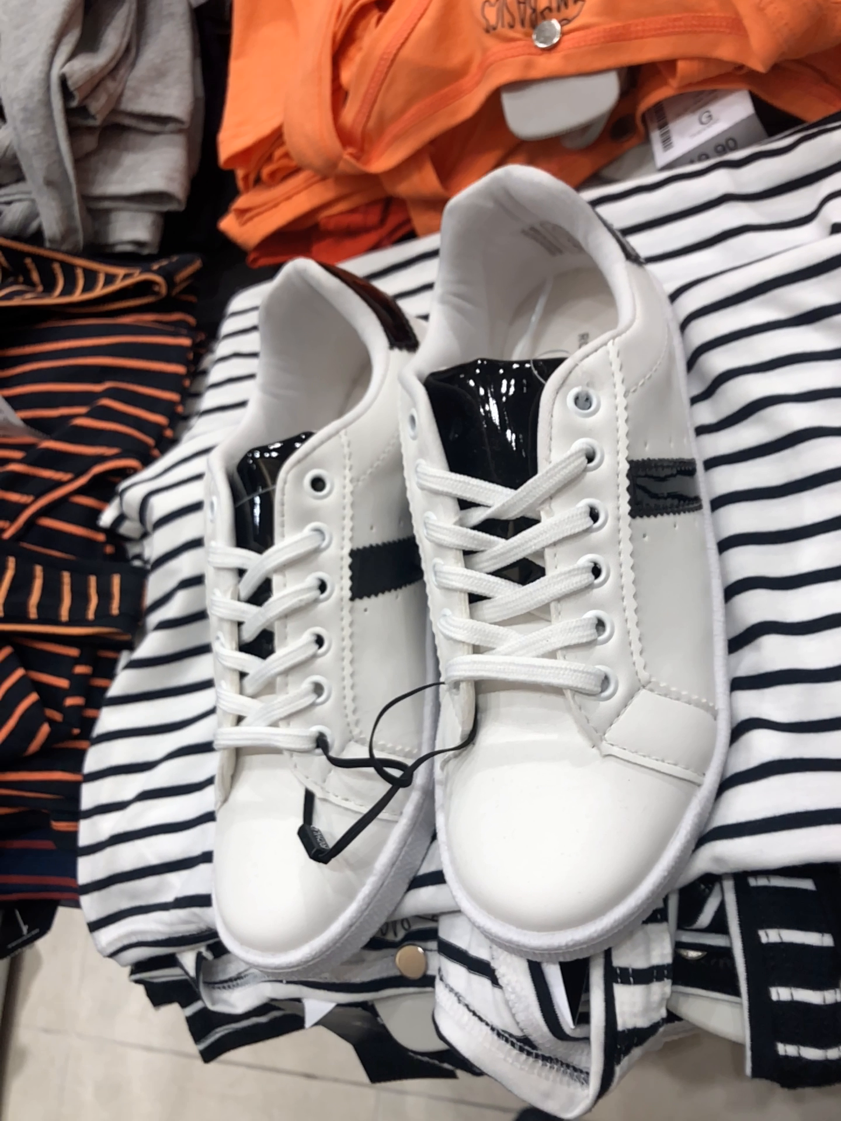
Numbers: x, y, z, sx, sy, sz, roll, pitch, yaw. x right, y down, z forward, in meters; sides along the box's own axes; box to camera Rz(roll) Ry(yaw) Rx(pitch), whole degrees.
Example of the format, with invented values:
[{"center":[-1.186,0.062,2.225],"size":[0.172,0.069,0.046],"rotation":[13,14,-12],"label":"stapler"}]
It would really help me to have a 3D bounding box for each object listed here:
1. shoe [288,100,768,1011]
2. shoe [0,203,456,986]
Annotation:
[{"center":[0.033,-0.001,0.256],"size":[0.090,0.080,0.210],"rotation":[-7,68,25],"label":"shoe"},{"center":[-0.049,0.010,0.292],"size":[0.080,0.080,0.210],"rotation":[-5,69,26],"label":"shoe"}]
